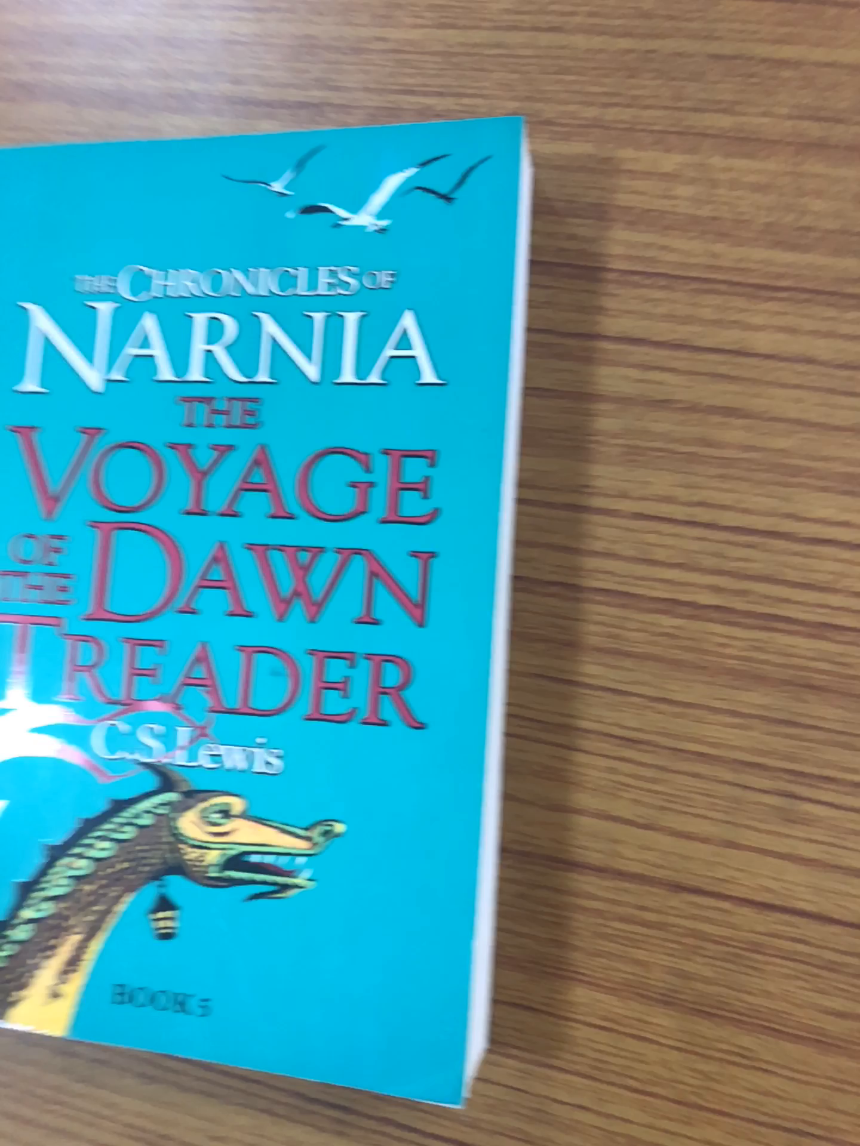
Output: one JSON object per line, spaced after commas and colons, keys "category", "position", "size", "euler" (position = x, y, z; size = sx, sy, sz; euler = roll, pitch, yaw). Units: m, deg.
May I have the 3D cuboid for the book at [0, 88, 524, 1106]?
{"category": "book", "position": [-0.051, -0.001, 0.217], "size": [0.130, 0.030, 0.200], "euler": [3, 85, 12]}
